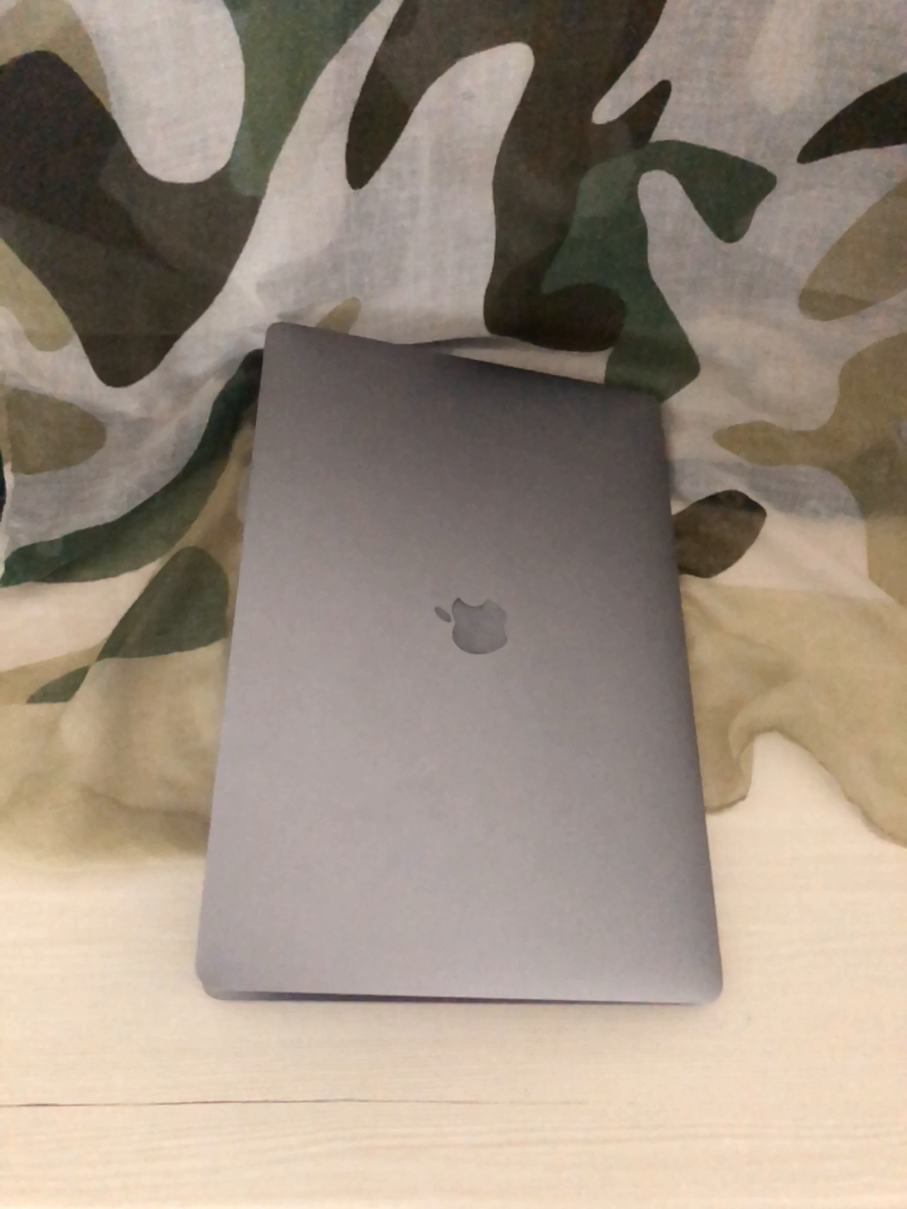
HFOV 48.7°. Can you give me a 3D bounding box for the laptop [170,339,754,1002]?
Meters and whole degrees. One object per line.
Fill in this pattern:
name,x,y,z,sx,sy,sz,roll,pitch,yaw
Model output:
laptop,0.006,0.017,0.511,0.236,0.058,0.340,2,62,-1
